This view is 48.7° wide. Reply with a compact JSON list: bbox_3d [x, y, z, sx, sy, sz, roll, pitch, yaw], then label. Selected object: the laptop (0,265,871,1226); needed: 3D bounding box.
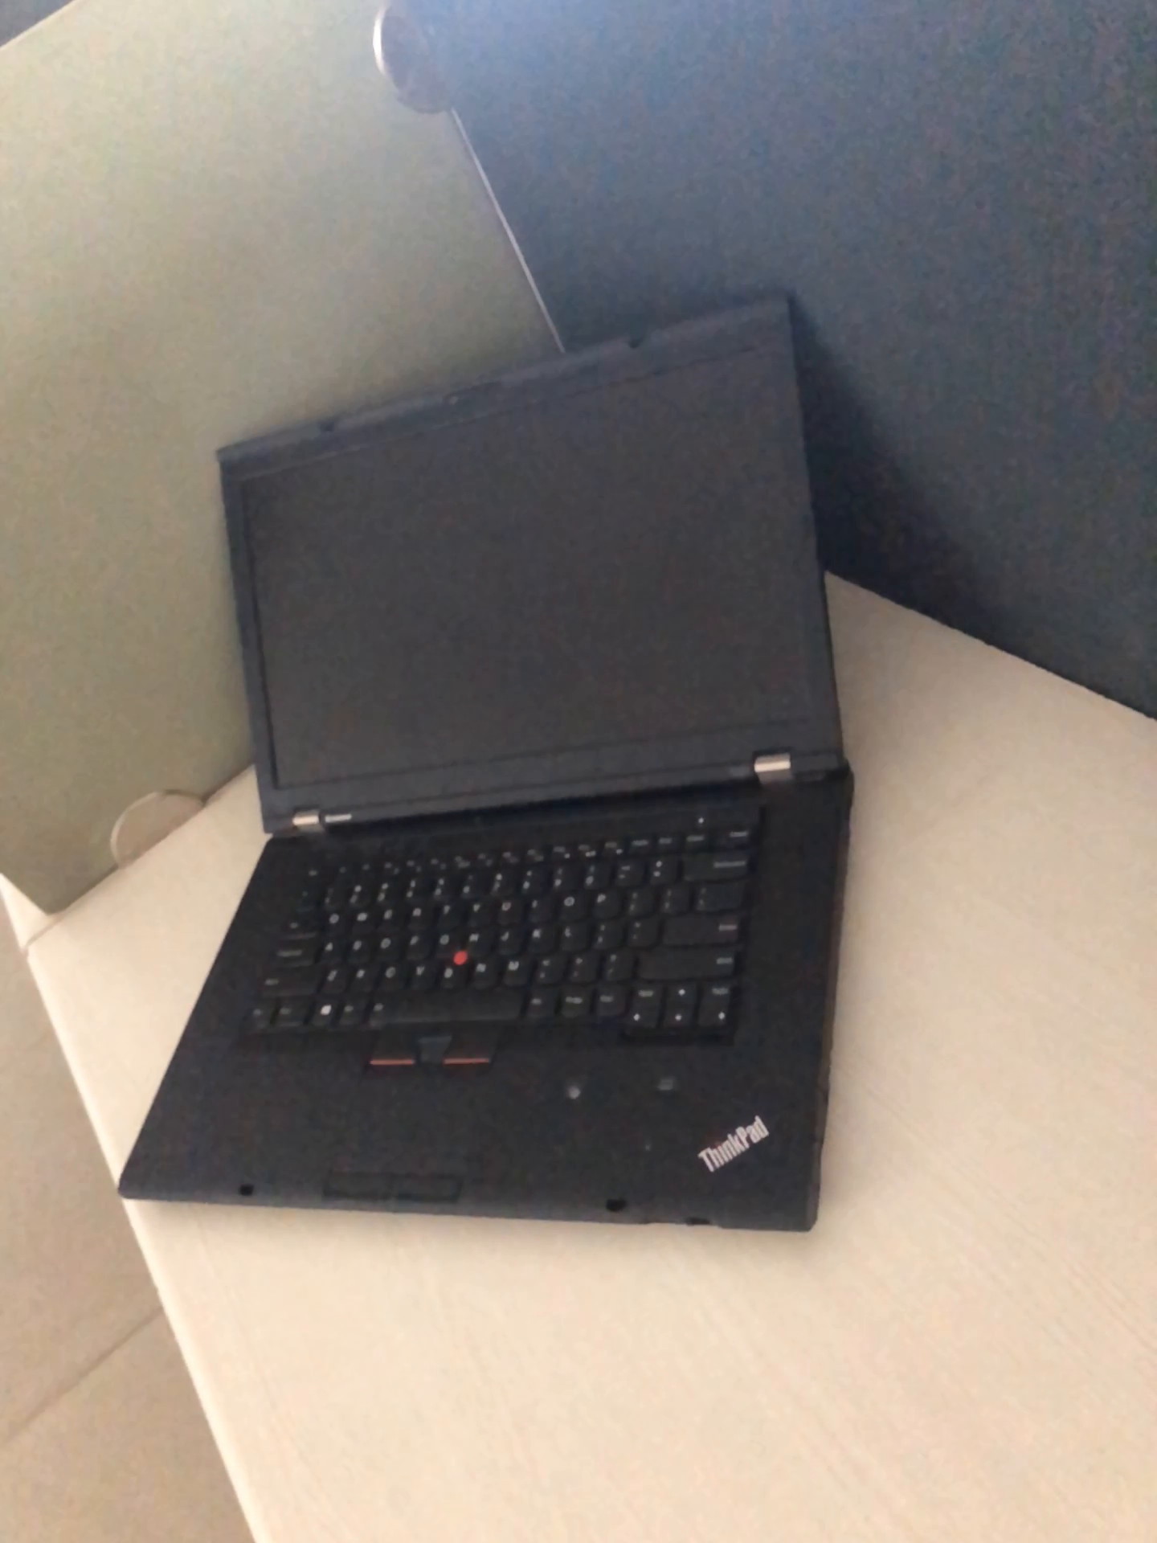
[{"bbox_3d":[-0.065,-0.017,0.636,0.356,0.167,0.406,-7,47,26],"label":"laptop"}]
